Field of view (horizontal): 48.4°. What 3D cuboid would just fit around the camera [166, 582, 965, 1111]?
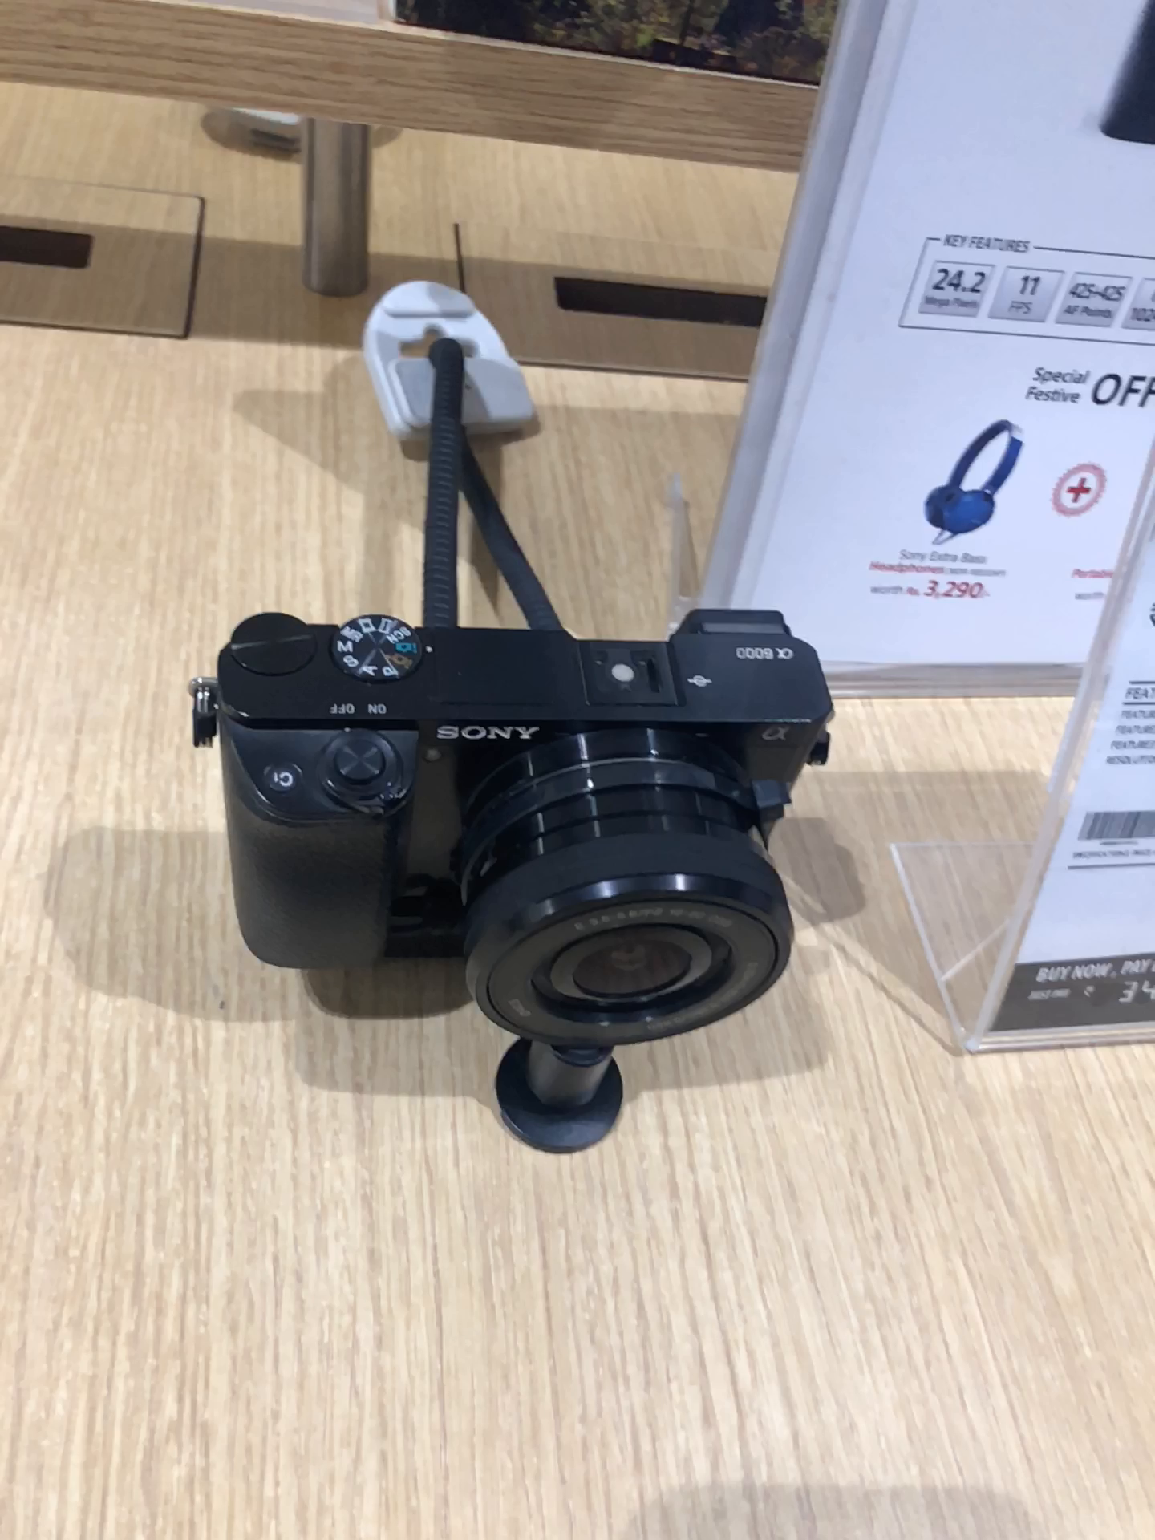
[{"bbox_3d":[-0.008,0.013,0.252,0.130,0.070,0.070,-2,51,-13],"label":"camera"}]
